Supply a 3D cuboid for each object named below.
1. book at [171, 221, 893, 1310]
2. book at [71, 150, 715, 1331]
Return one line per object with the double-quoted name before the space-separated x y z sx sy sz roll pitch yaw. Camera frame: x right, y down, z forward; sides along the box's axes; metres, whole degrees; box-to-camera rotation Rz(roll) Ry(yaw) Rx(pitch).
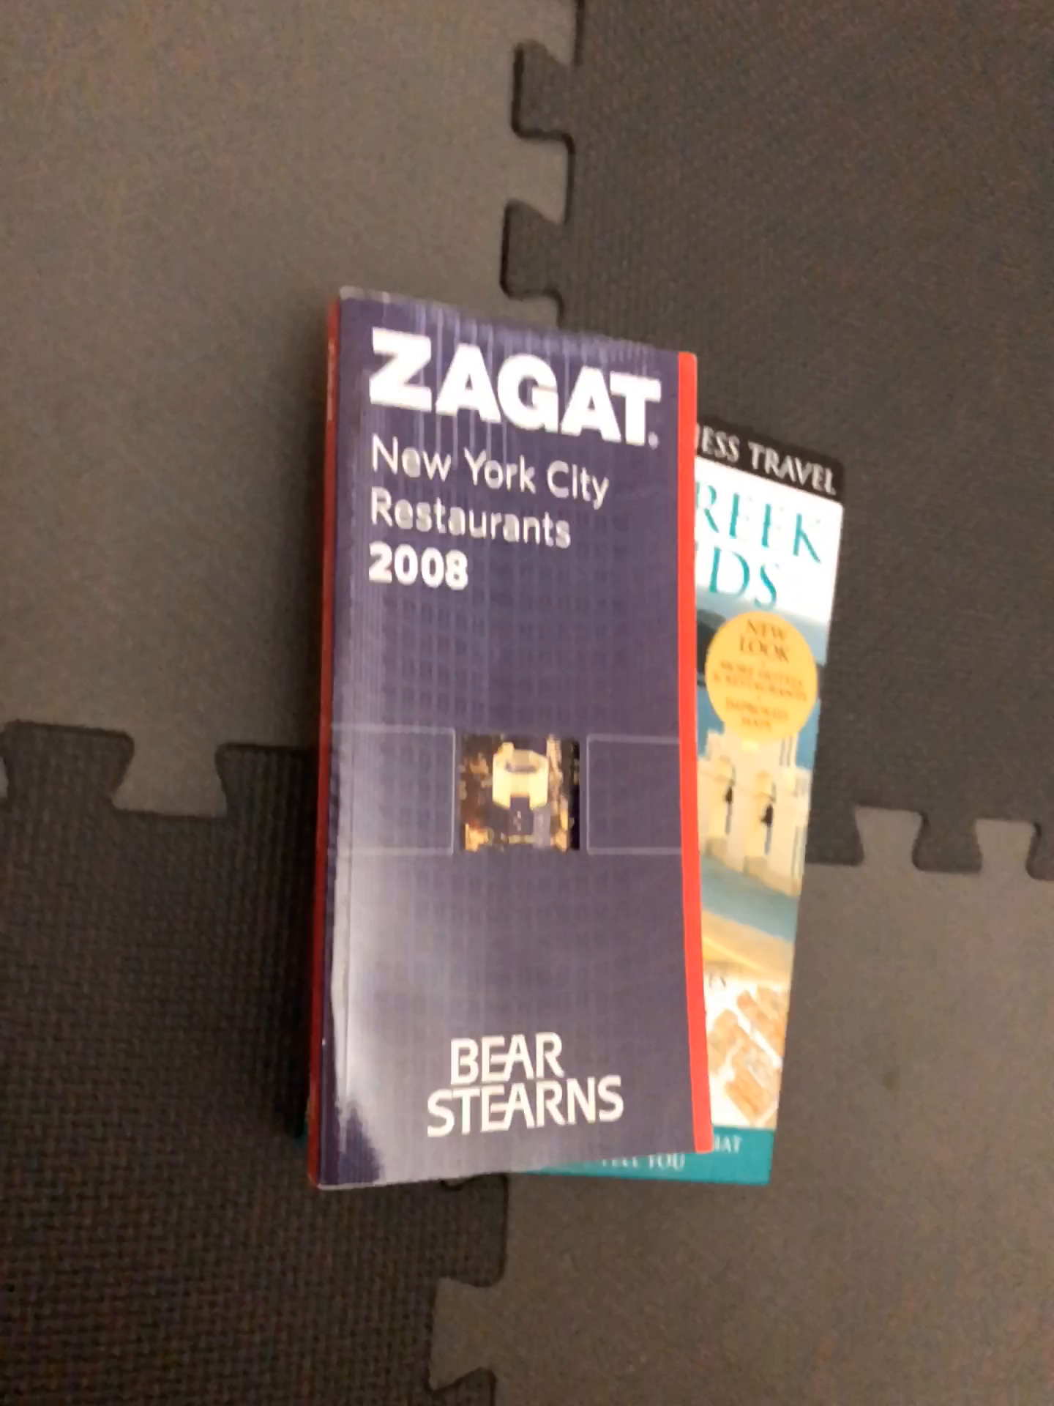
"book" 0.014 0.021 0.322 0.171 0.030 0.260 11 80 -22
"book" -0.027 0.004 0.286 0.151 0.020 0.250 2 84 -23
